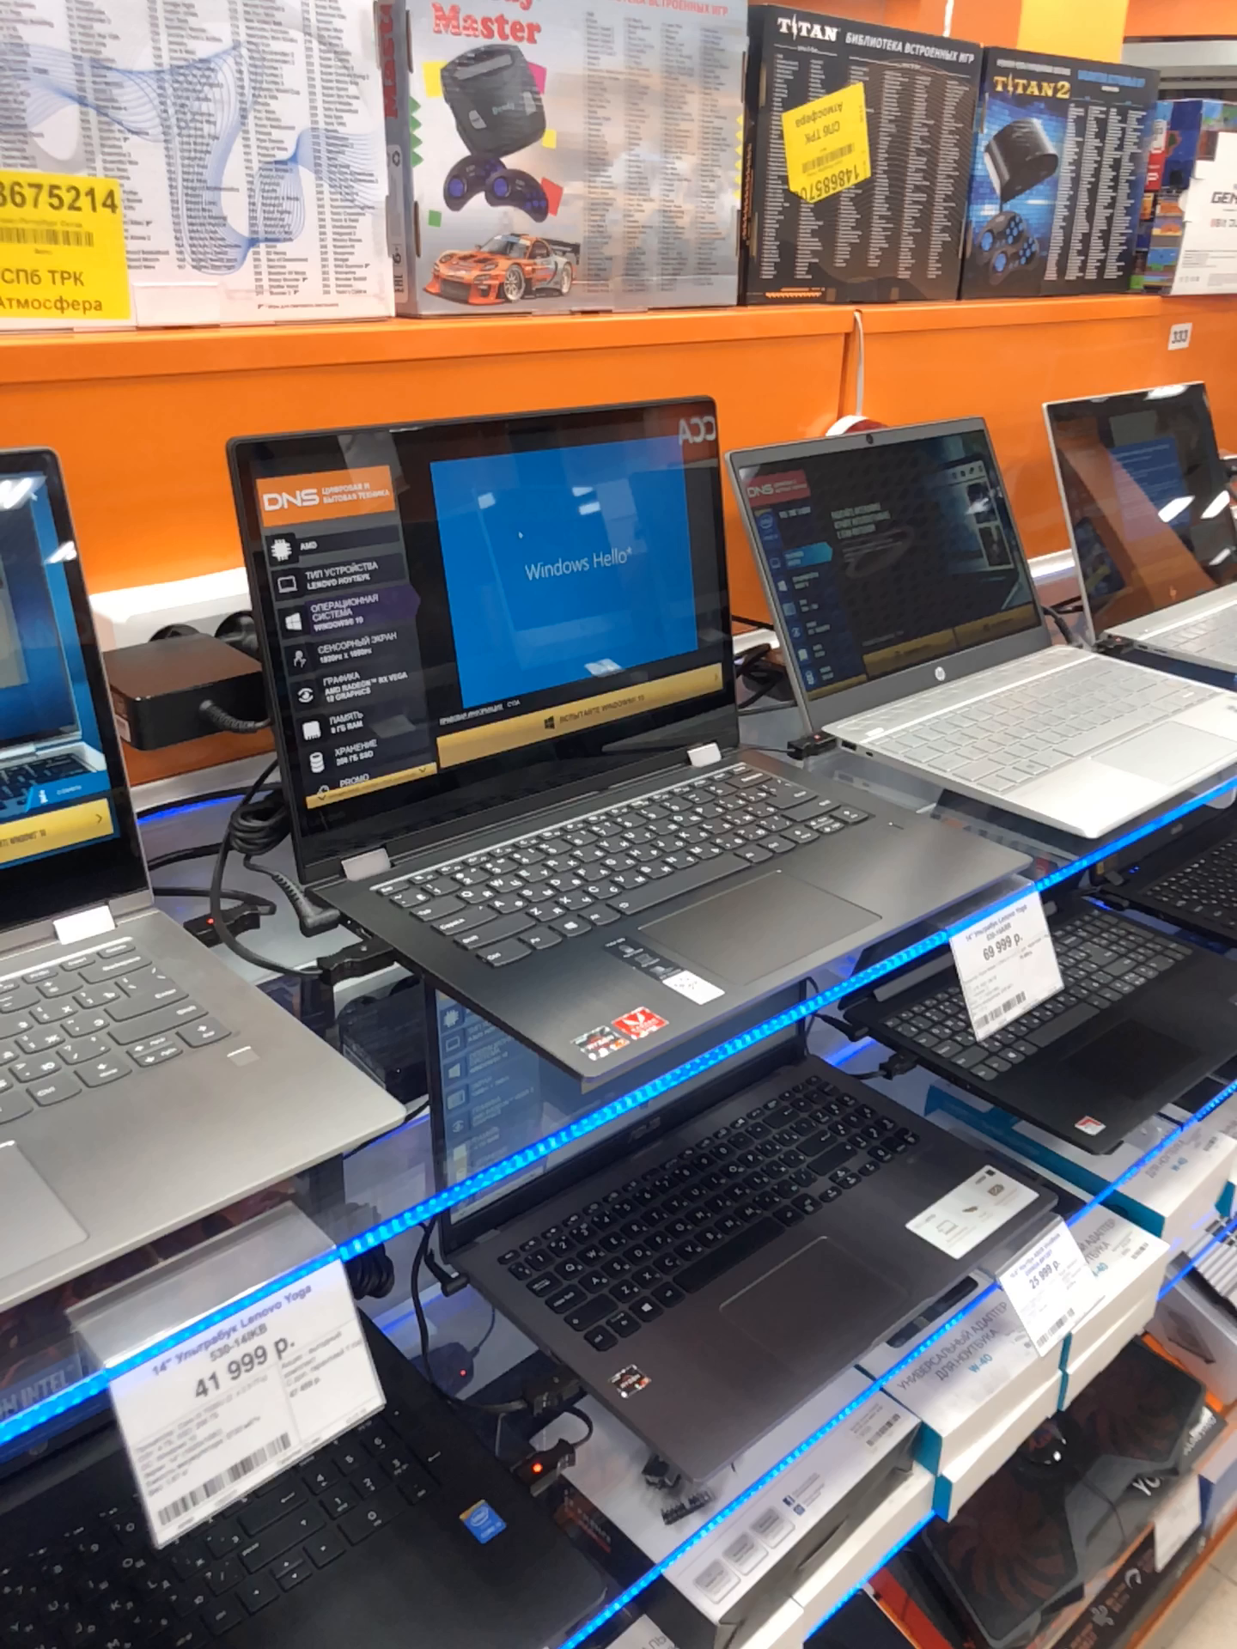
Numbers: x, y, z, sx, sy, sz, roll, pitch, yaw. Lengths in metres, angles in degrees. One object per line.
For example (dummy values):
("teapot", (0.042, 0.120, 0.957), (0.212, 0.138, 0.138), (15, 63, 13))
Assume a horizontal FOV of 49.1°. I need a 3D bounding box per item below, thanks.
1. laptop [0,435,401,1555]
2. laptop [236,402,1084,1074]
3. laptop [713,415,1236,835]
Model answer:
("laptop", (-0.283, 0.000, 0.462), (0.286, 0.202, 0.284), (25, 30, 37))
("laptop", (0.022, -0.080, 0.690), (0.320, 0.215, 0.255), (-19, 32, -39))
("laptop", (0.287, -0.167, 0.958), (0.316, 0.161, 0.310), (-20, 34, -39))
